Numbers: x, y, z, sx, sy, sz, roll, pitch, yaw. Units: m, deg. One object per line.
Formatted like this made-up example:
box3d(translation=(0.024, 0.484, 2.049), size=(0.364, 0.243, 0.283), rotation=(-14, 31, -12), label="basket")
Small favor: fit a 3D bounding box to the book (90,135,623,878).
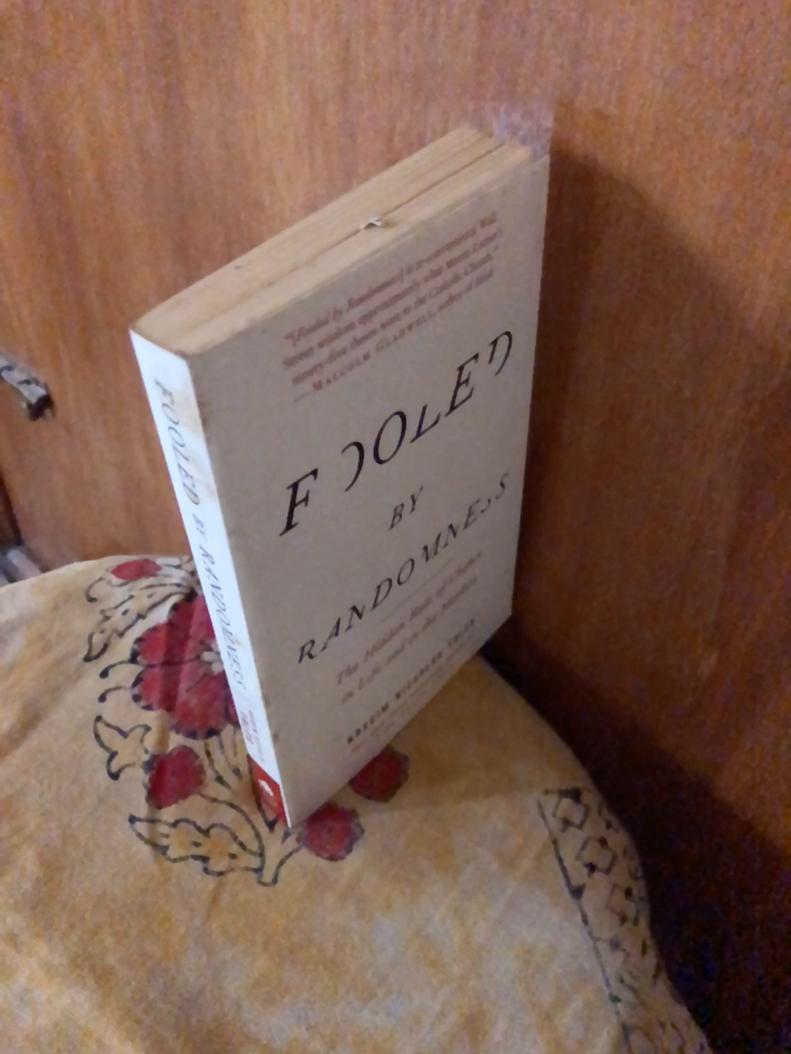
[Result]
box3d(translation=(-0.005, -0.004, 0.291), size=(0.040, 0.199, 0.160), rotation=(31, 47, 26), label="book")
